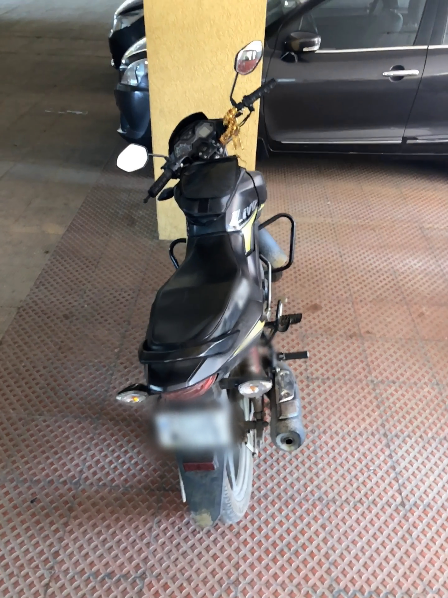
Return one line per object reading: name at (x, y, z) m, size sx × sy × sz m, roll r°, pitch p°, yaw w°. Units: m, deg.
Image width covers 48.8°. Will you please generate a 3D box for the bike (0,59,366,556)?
bike at (-0.058, -0.120, 1.884) m, size 0.716 × 1.089 × 1.628 m, roll 3°, pitch 38°, yaw 2°
